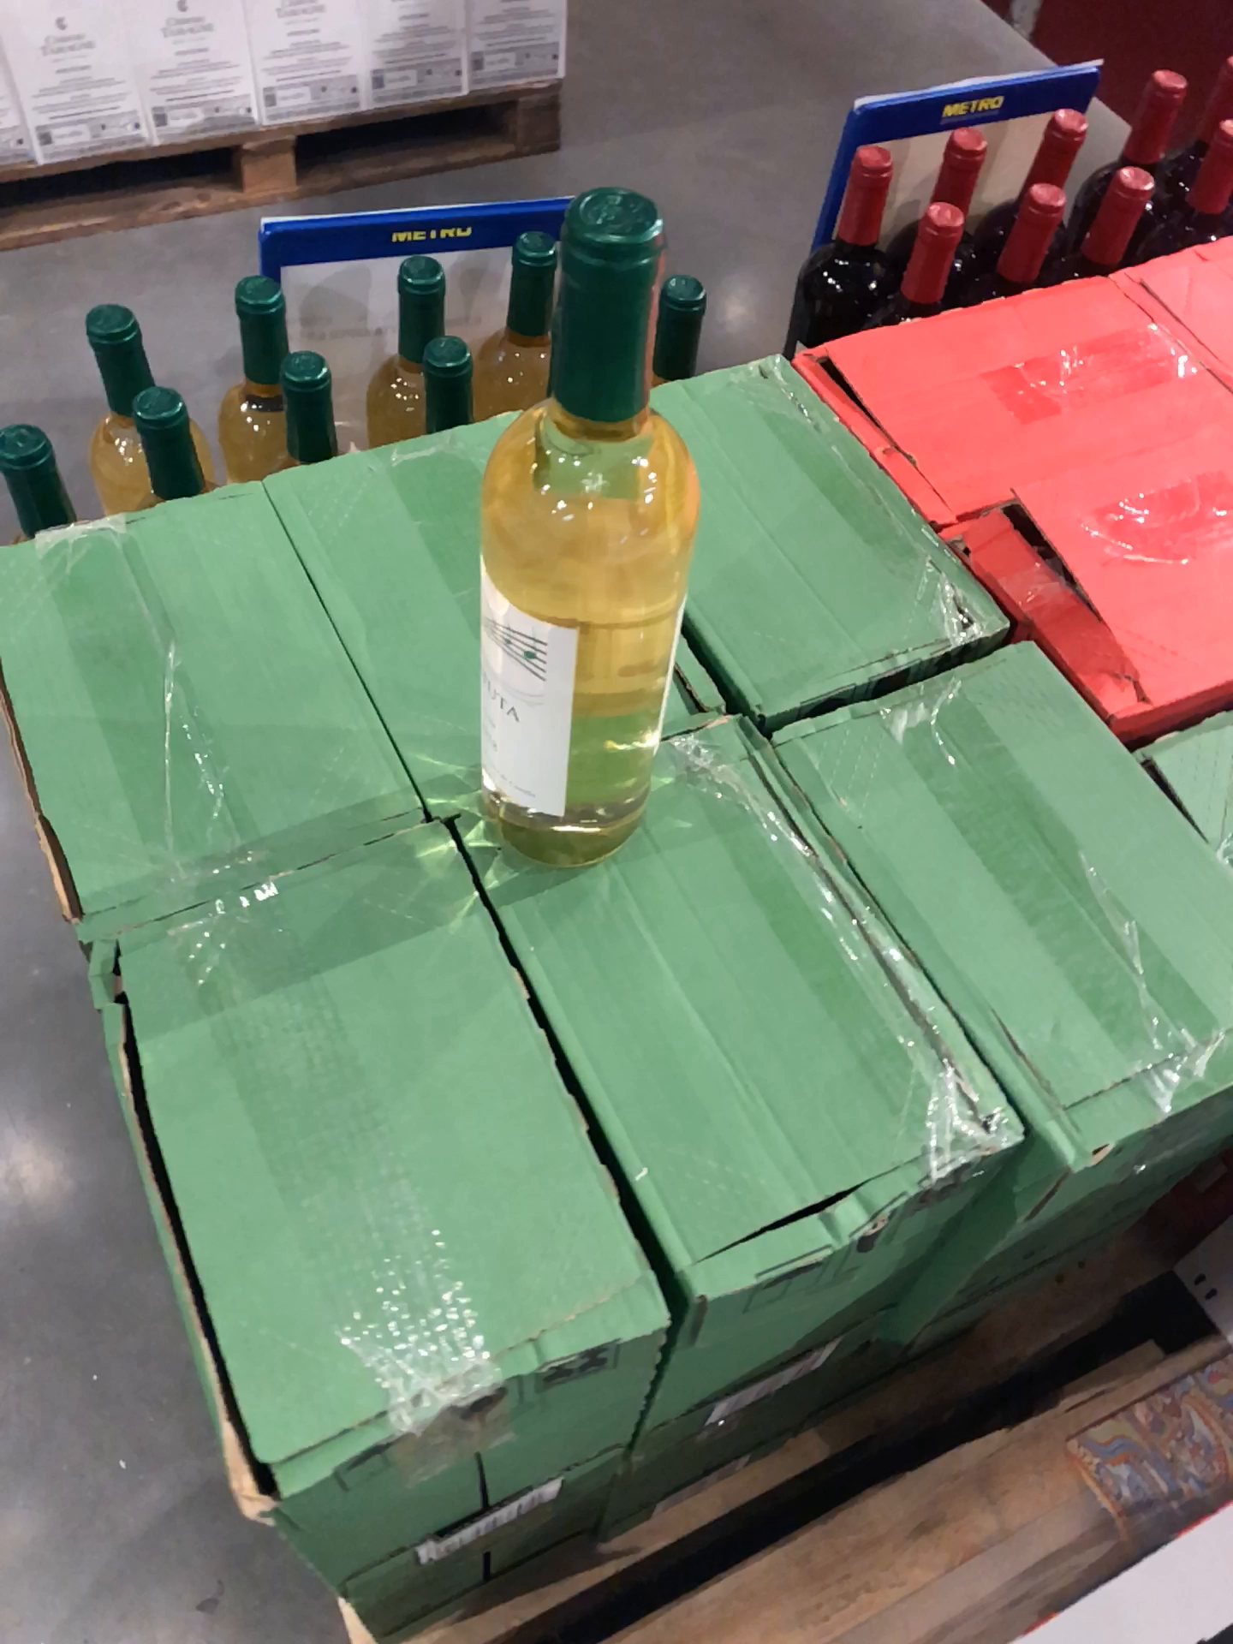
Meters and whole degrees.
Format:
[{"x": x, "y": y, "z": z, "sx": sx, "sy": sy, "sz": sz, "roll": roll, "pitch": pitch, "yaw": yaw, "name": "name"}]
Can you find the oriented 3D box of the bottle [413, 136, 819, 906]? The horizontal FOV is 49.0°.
[{"x": -0.010, "y": -0.085, "z": 0.477, "sx": 0.084, "sy": 0.262, "sz": 0.080, "roll": 2, "pitch": 55, "yaw": -3, "name": "bottle"}]
